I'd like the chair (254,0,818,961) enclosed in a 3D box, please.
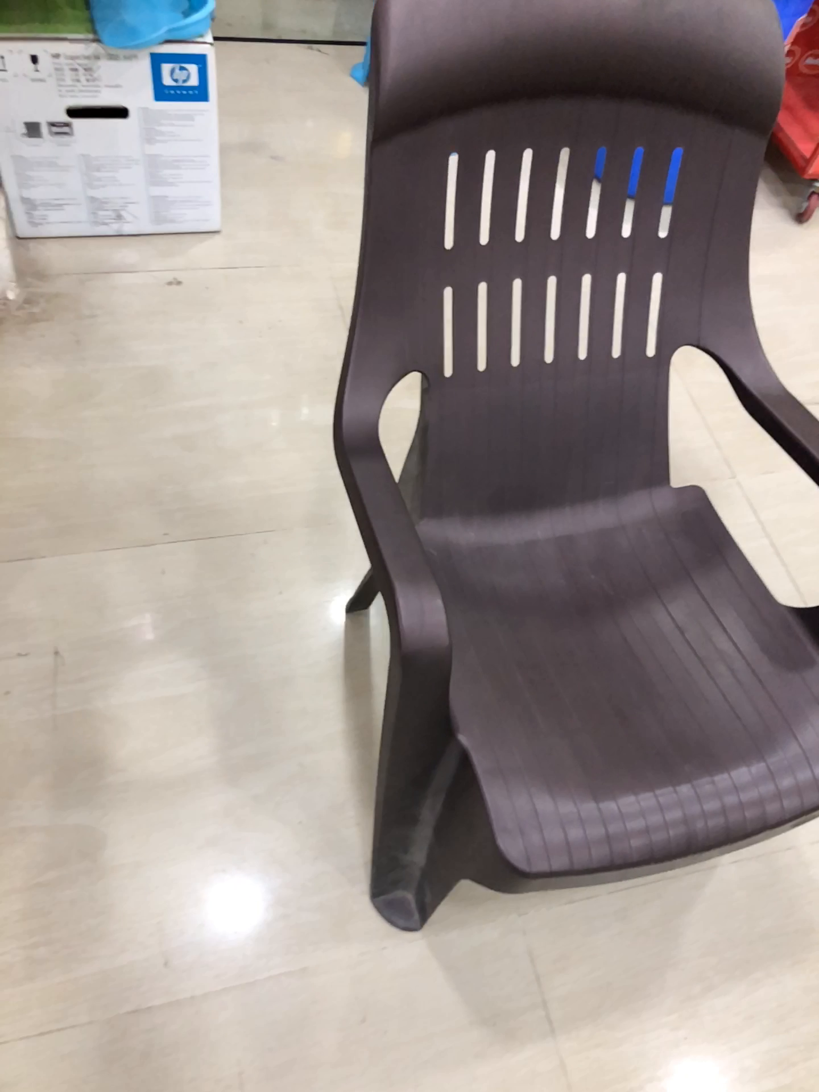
[{"bbox_3d":[0.201,-0.065,1.005,0.632,0.844,0.682,-8,56,-16],"label":"chair"}]
